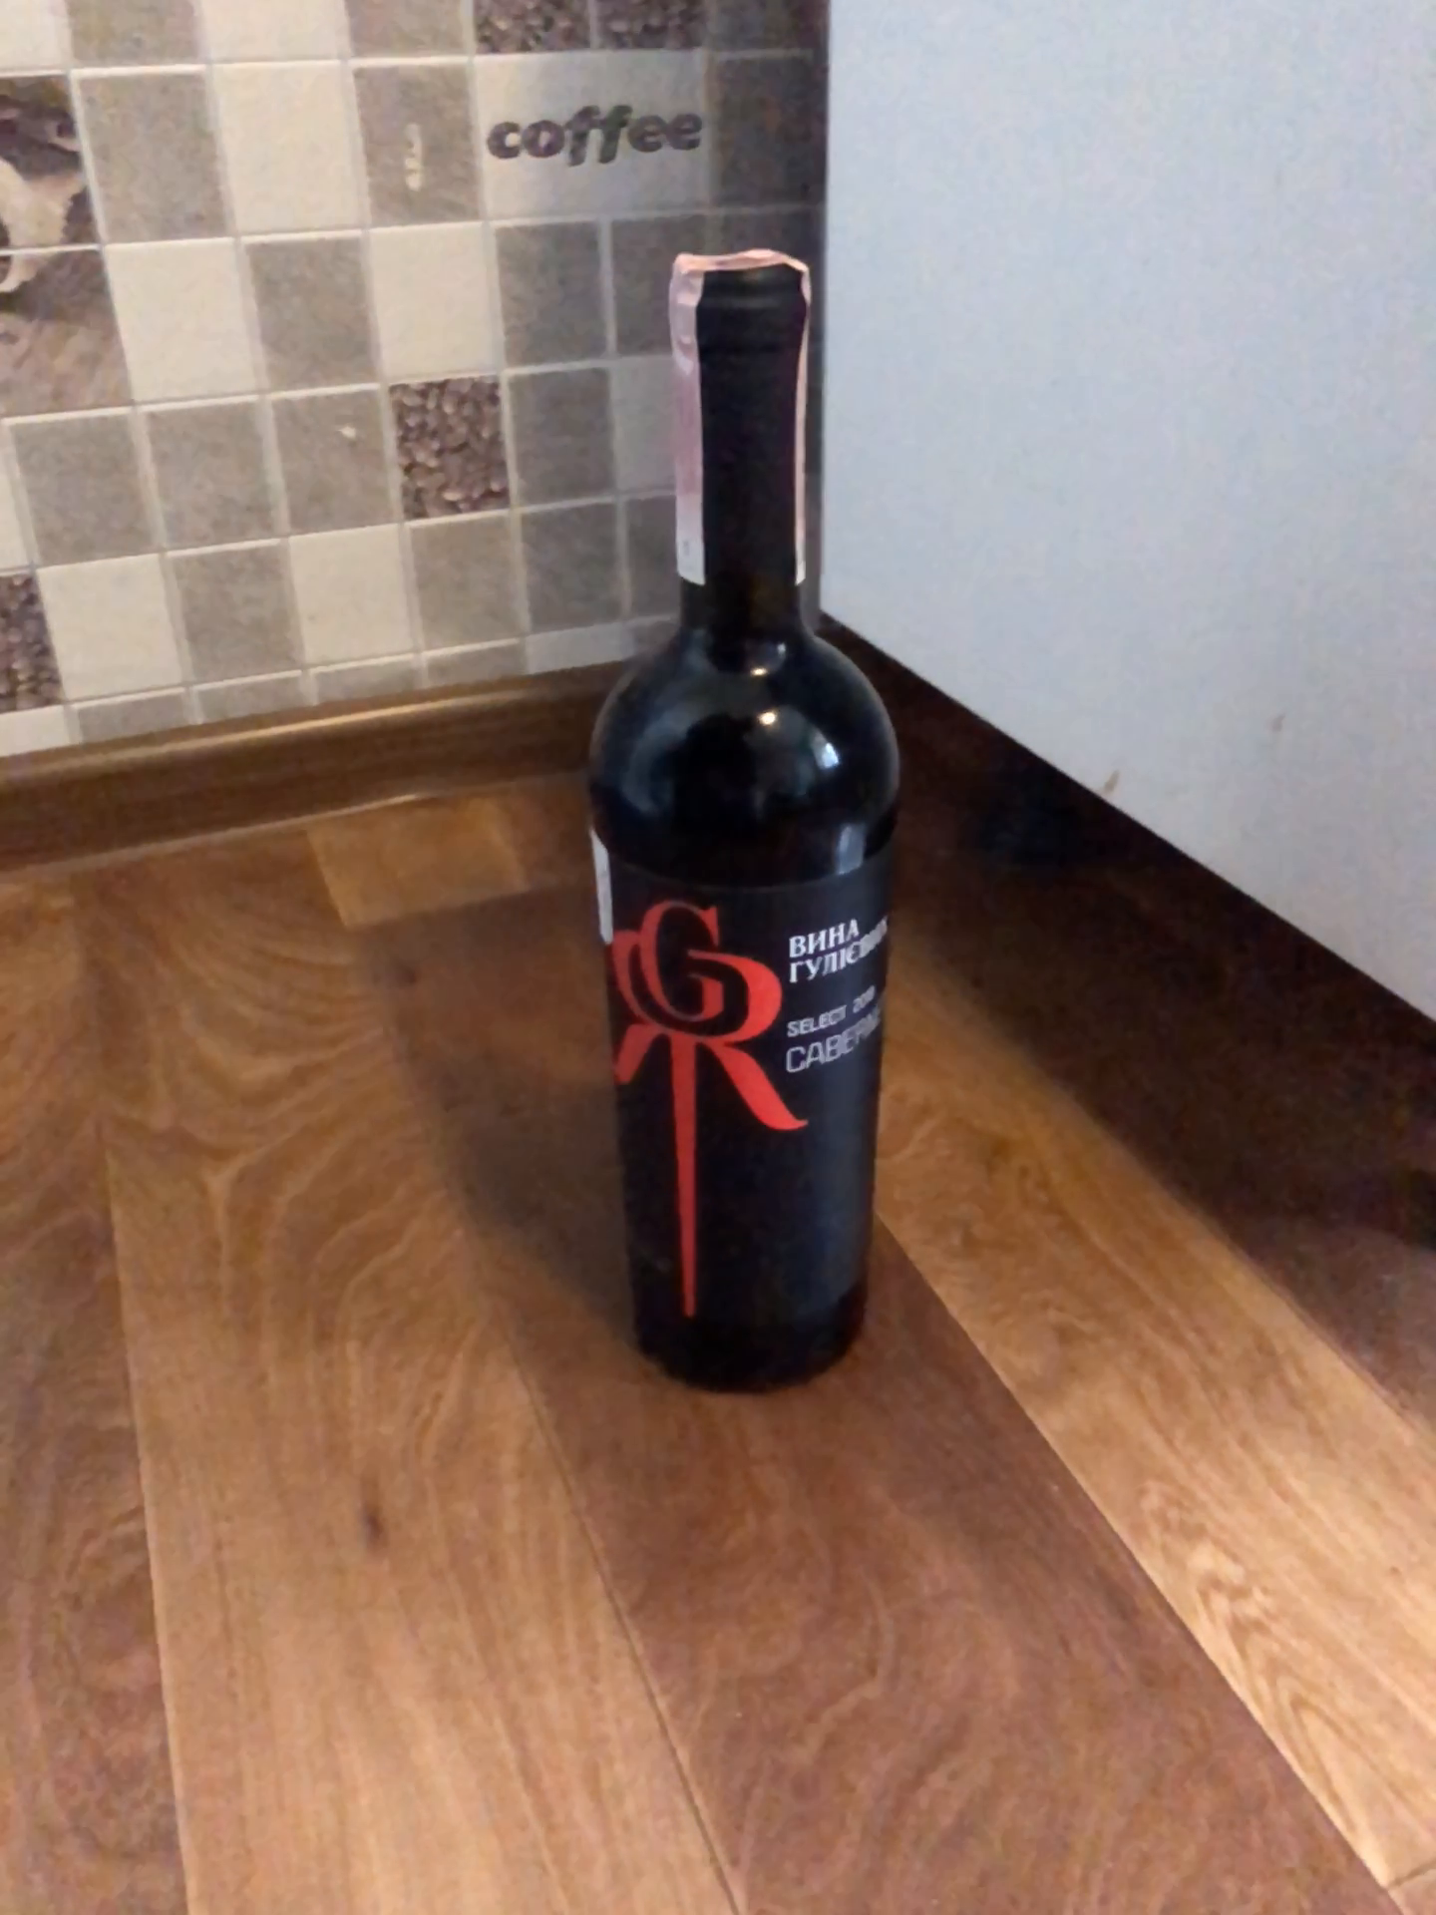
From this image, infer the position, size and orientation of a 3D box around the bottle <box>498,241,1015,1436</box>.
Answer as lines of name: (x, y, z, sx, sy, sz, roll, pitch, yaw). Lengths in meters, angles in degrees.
bottle: (0.006, -0.023, 0.422, 0.090, 0.297, 0.091, -1, 30, 0)
